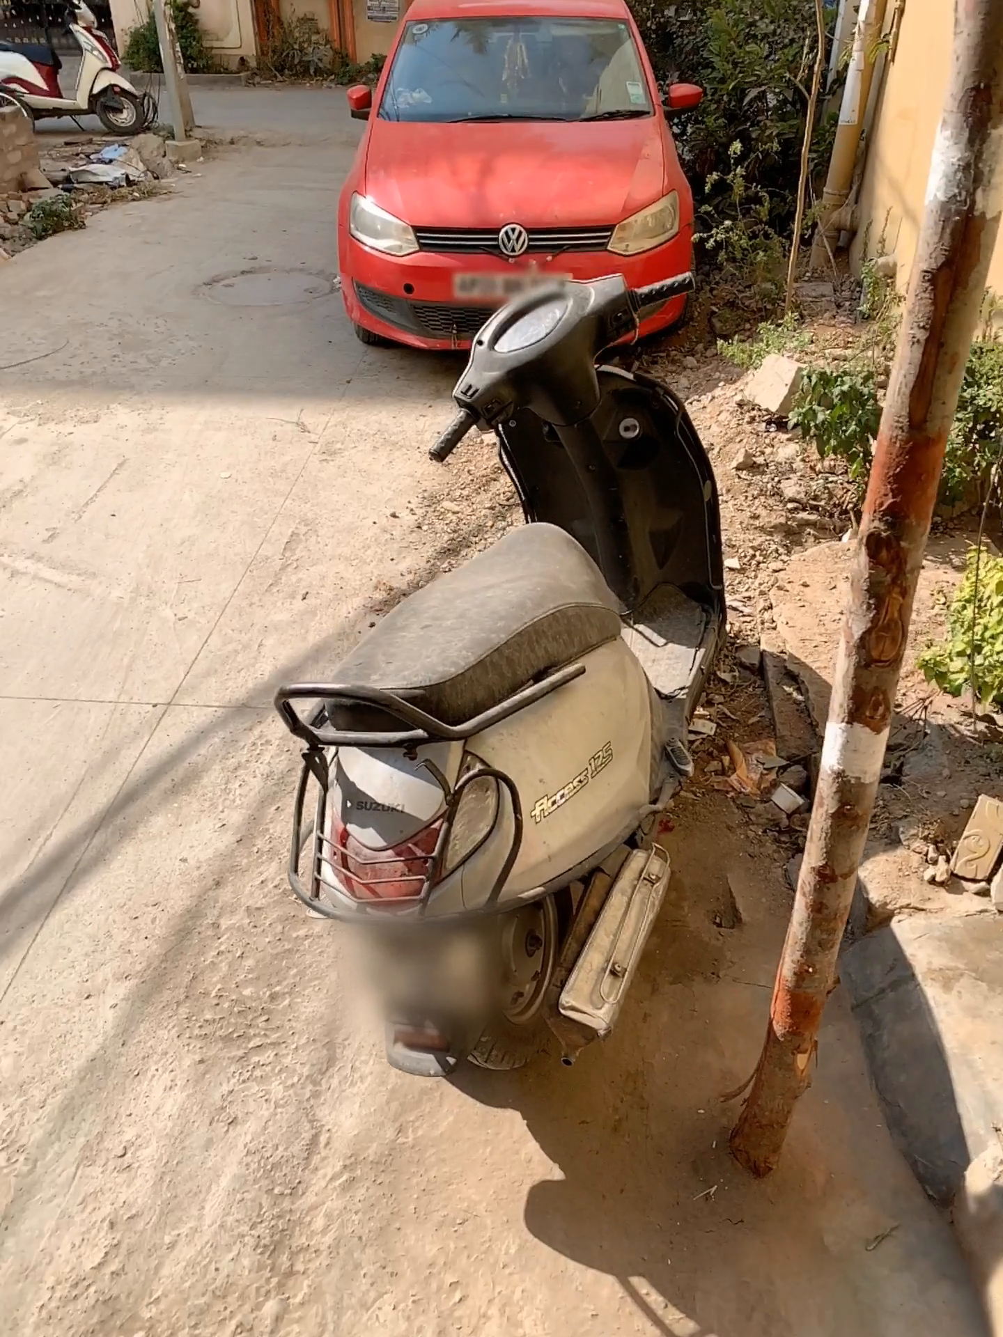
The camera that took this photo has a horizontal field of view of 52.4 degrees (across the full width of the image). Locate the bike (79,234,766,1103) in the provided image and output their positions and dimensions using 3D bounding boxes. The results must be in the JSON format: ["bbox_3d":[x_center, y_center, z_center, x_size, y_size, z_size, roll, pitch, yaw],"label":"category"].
[{"bbox_3d":[0.039,-0.159,2.009,0.549,1.000,1.515,13,36,18],"label":"bike"}]
